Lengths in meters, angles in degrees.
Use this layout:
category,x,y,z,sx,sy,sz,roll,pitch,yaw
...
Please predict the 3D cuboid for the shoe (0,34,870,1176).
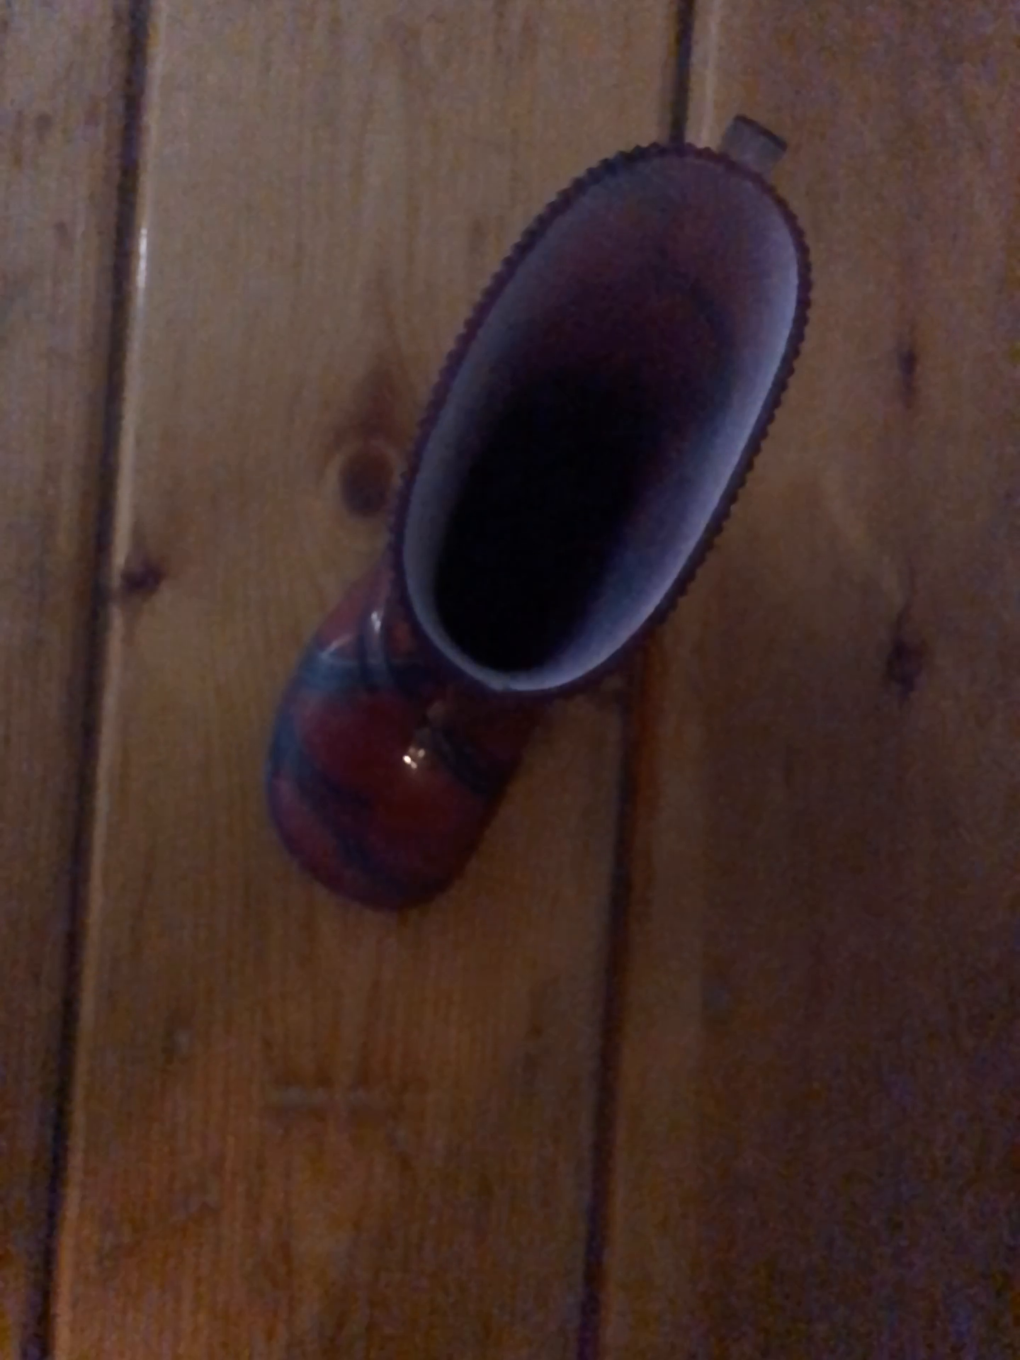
category,x,y,z,sx,sy,sz,roll,pitch,yaw
shoe,-0.020,-0.011,0.264,0.080,0.170,0.160,30,89,-1
